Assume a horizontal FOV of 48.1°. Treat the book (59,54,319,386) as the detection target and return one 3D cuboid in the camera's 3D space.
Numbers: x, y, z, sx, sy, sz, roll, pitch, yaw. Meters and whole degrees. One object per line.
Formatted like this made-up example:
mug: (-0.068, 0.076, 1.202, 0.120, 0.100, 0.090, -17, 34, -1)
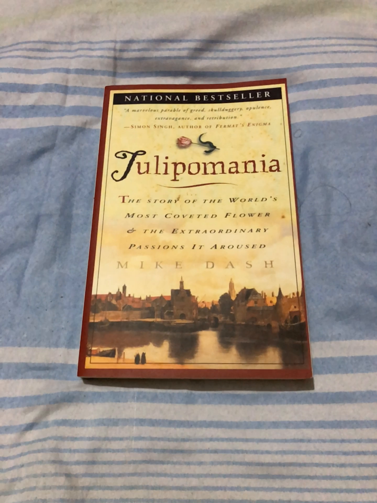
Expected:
book: (0.001, -0.029, 0.294, 0.140, 0.050, 0.230, 0, 68, 2)
